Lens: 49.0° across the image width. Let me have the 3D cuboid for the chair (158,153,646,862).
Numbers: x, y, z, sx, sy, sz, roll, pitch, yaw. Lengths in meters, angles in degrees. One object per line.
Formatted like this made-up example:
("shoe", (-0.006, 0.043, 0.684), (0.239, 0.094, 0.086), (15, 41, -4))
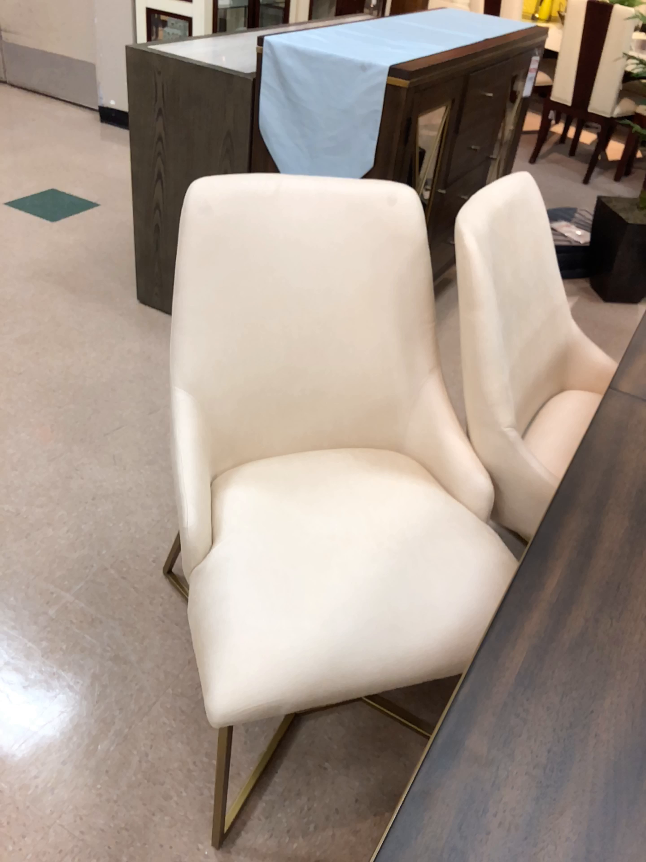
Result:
("chair", (0.043, 0.111, 1.180), (0.540, 0.904, 0.644), (-5, 38, -16))
